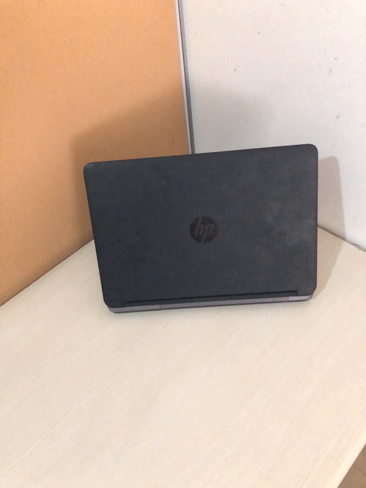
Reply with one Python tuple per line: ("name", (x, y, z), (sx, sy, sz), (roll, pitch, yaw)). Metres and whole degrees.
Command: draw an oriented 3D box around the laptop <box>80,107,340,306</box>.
("laptop", (0.034, -0.061, 0.641), (0.318, 0.192, 0.229), (-4, 47, 2))
